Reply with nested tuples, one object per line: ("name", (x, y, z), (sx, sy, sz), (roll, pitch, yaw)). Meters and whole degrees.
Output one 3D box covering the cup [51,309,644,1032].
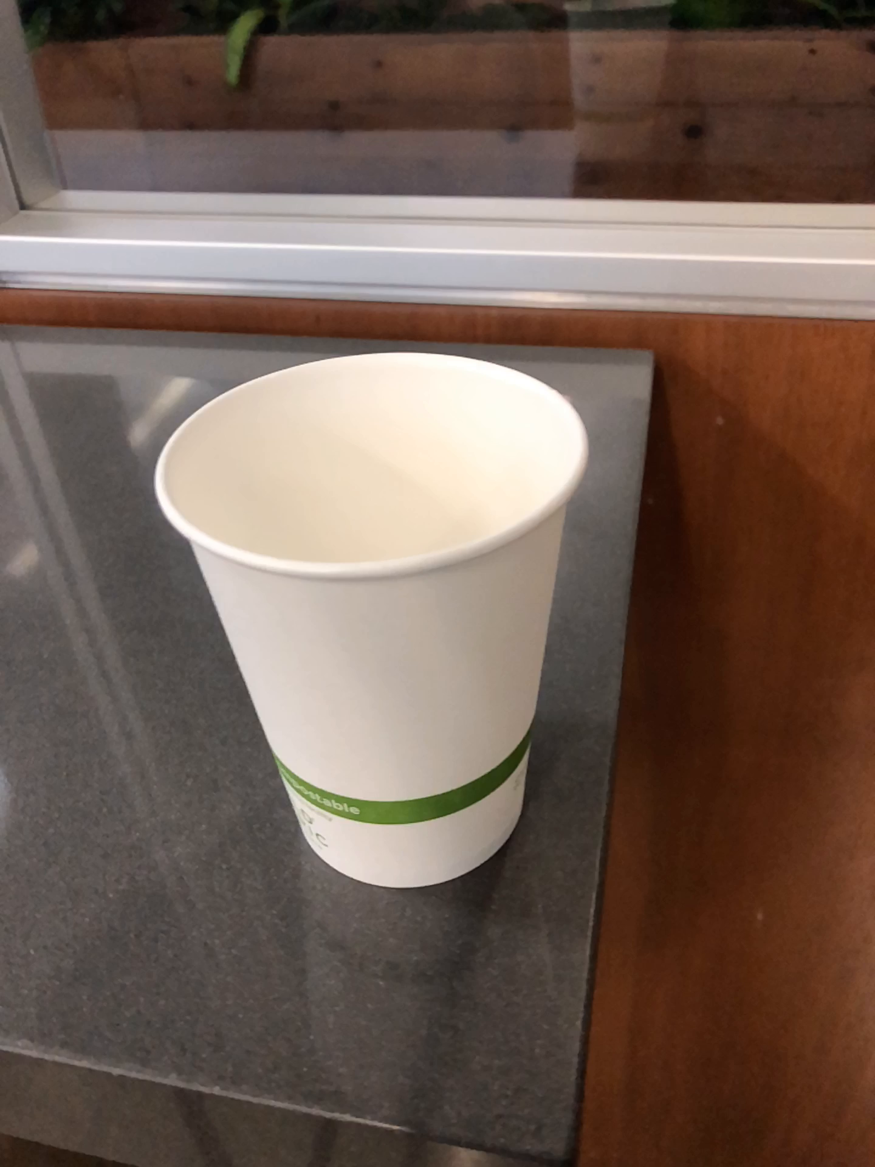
("cup", (-0.018, 0.016, 0.229), (0.090, 0.119, 0.080), (-23, 40, -25))
